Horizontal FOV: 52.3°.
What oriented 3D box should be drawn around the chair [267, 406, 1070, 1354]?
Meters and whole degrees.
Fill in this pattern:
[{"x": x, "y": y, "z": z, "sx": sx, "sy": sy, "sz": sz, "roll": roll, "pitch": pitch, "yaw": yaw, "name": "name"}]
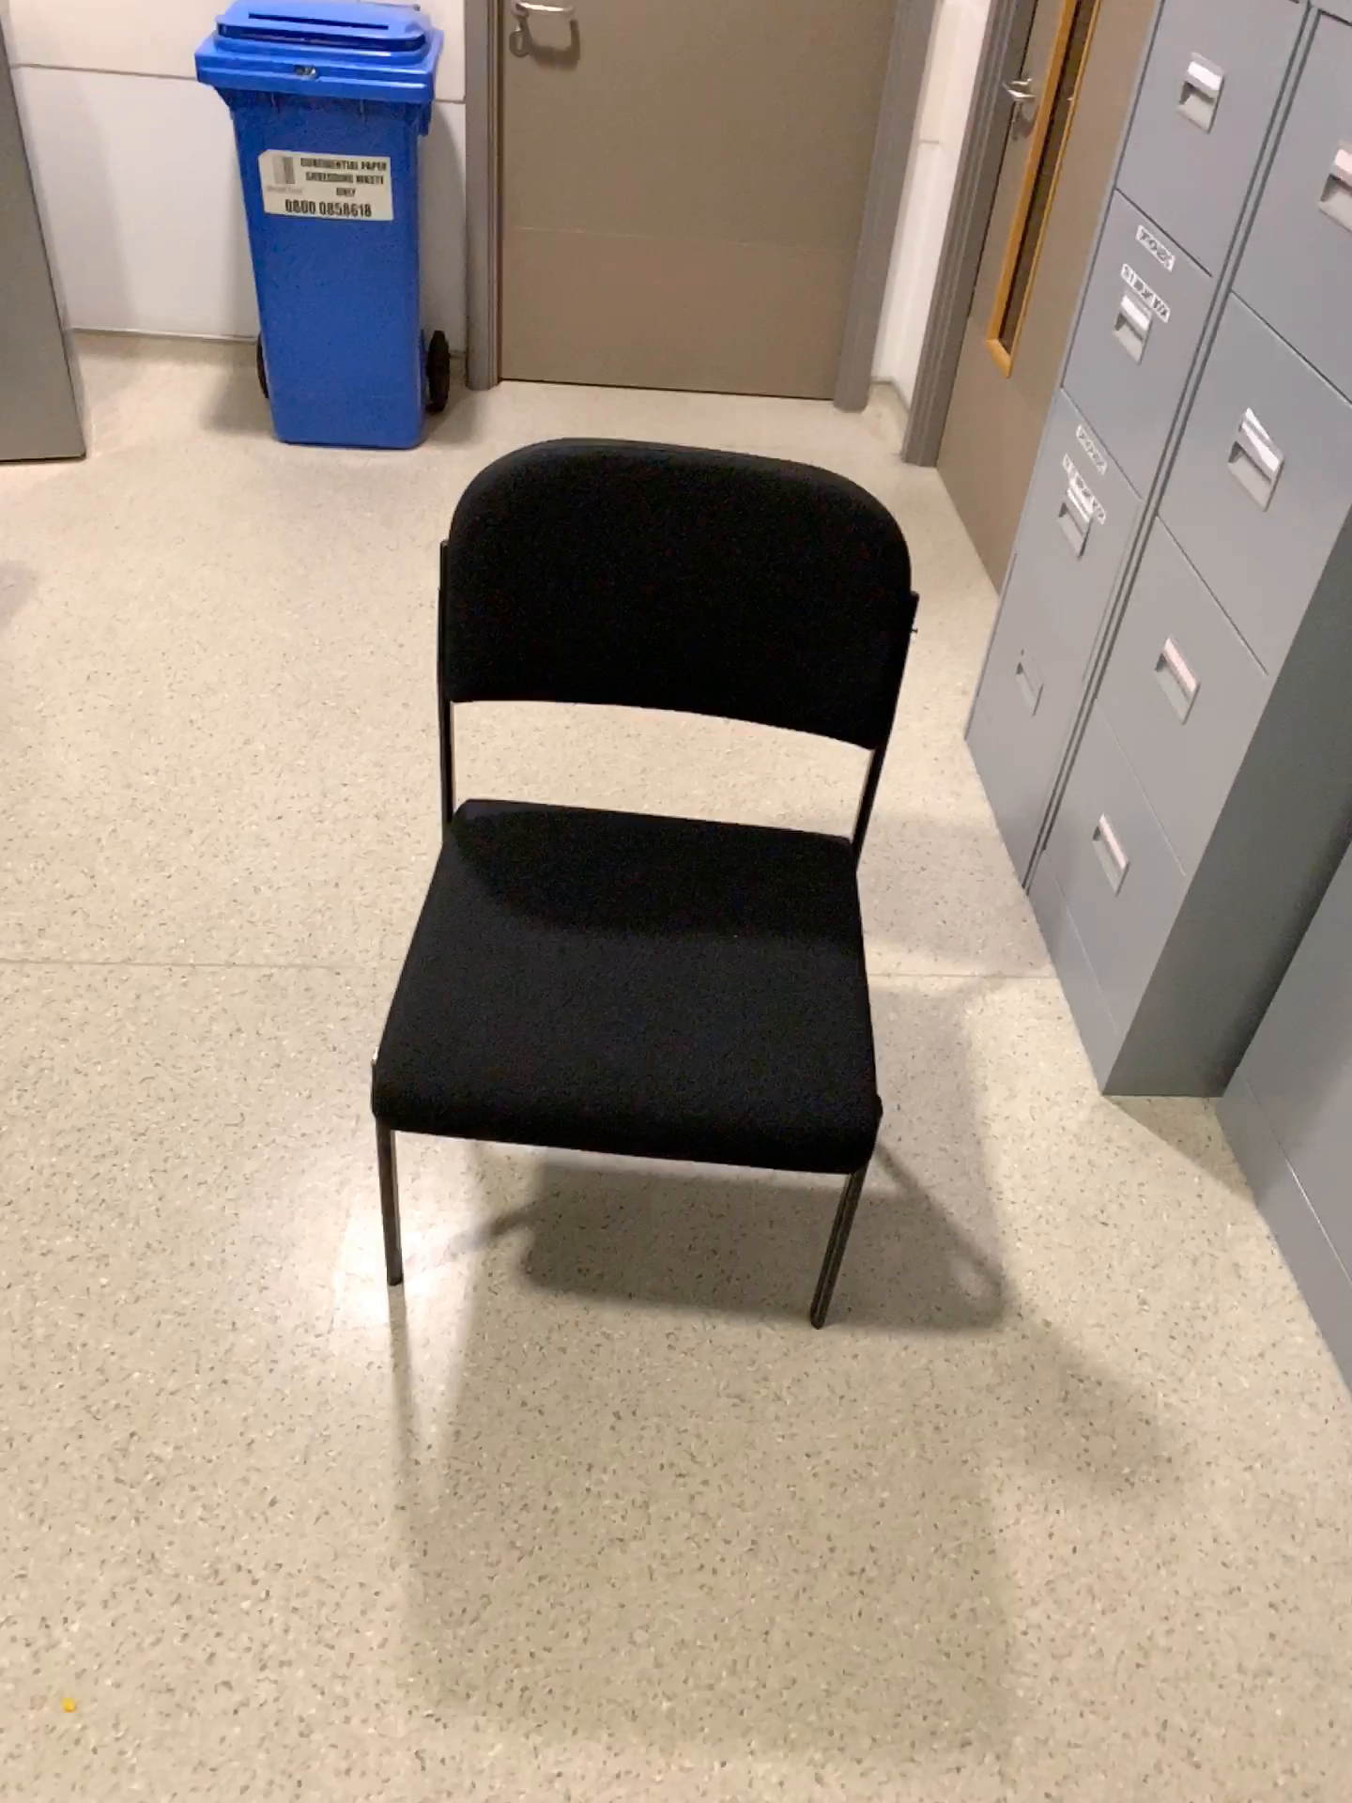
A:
[{"x": -0.025, "y": -0.008, "z": 1.566, "sx": 0.630, "sy": 0.832, "sz": 0.586, "roll": 6, "pitch": 40, "yaw": -1, "name": "chair"}]
